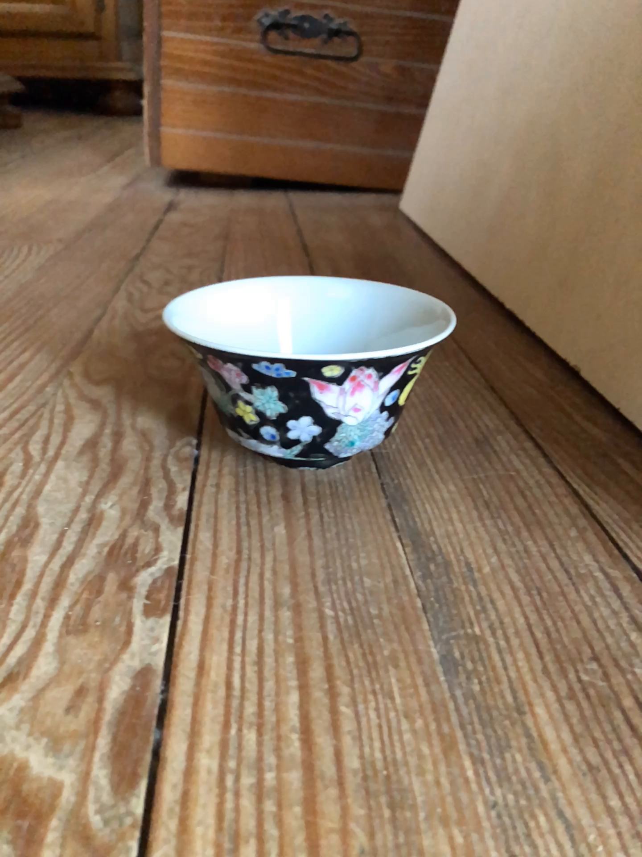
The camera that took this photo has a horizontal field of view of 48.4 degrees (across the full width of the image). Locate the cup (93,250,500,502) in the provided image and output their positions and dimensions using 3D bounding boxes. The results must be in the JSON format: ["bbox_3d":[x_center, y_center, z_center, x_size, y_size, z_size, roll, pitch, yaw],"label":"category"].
[{"bbox_3d":[-0.010,-0.030,0.269,0.101,0.040,0.110,1,27,0],"label":"cup"}]
